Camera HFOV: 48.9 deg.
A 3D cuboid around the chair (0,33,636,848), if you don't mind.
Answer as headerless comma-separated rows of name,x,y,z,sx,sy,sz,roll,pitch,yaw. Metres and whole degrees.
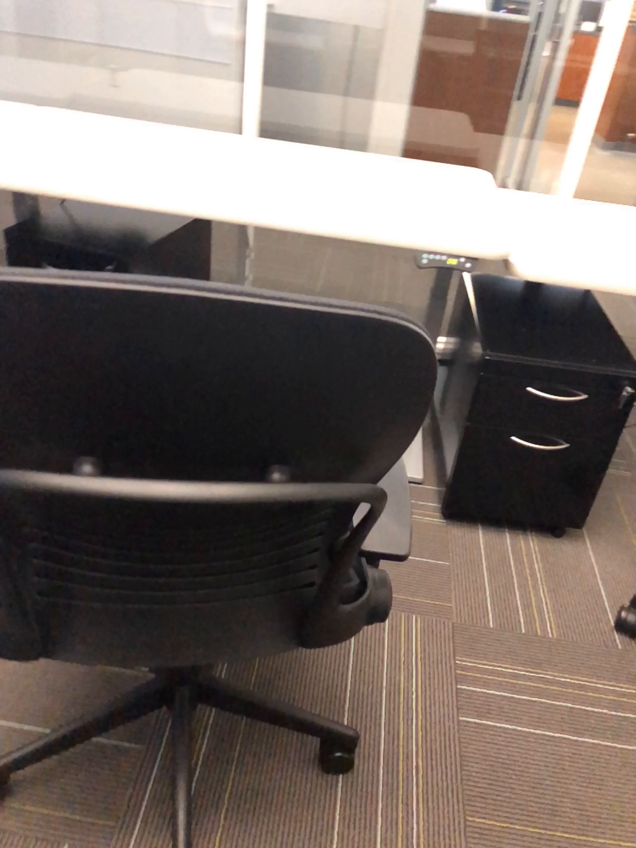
chair,-0.231,0.075,1.063,0.730,1.035,0.834,2,33,-8
